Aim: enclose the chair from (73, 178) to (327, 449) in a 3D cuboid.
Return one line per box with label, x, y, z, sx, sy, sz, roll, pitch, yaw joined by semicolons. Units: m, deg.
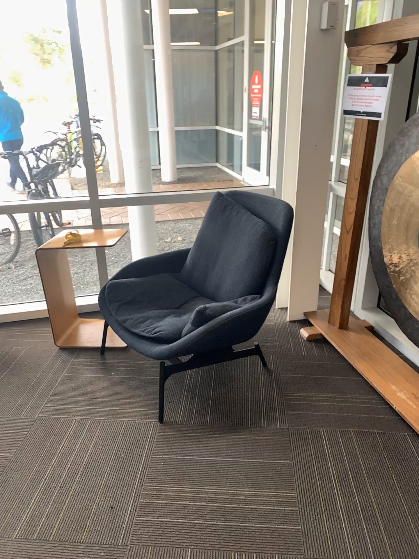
chair;-0.067;0.062;2.369;0.941;0.995;0.904;-17;28;-33
